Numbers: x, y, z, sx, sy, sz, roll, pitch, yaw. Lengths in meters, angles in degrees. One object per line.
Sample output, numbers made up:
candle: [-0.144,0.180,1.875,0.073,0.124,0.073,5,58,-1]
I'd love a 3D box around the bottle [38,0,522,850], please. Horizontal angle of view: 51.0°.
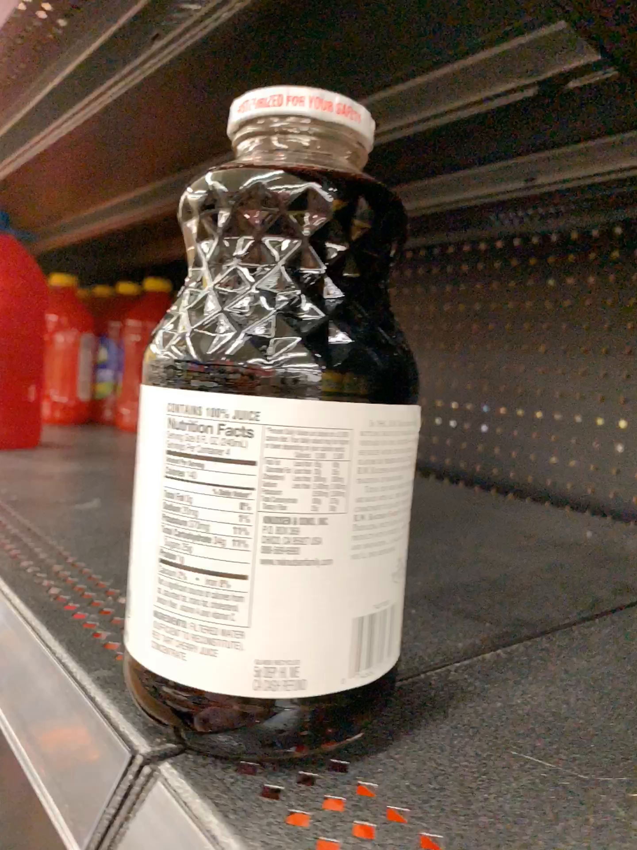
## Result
bottle: [-0.013,-0.004,0.224,0.110,0.200,0.100,8,6,38]
